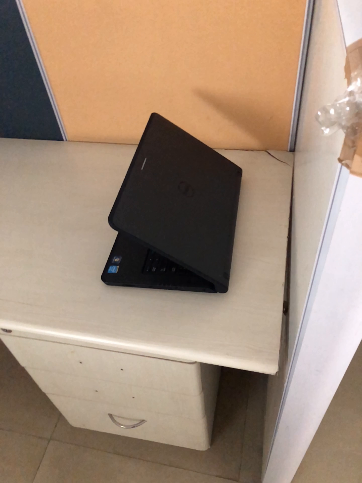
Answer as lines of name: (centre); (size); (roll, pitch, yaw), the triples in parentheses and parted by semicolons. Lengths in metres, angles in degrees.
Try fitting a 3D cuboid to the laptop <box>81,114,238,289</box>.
laptop: (-0.015, -0.092, 0.764); (0.215, 0.154, 0.320); (4, 47, 11)
